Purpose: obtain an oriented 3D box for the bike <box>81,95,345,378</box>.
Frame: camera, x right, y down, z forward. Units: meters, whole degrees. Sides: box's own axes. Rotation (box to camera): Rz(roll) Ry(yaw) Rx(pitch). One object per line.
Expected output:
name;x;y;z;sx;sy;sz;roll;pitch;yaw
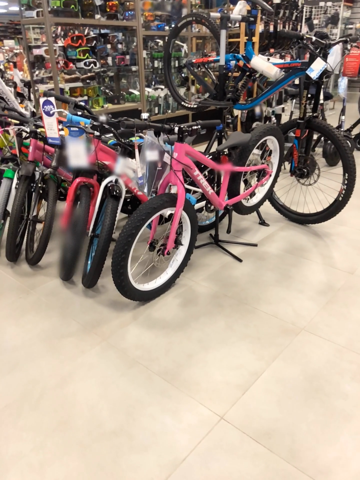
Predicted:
bike;0.229;-0.181;1.958;0.572;0.668;1.339;19;39;38
